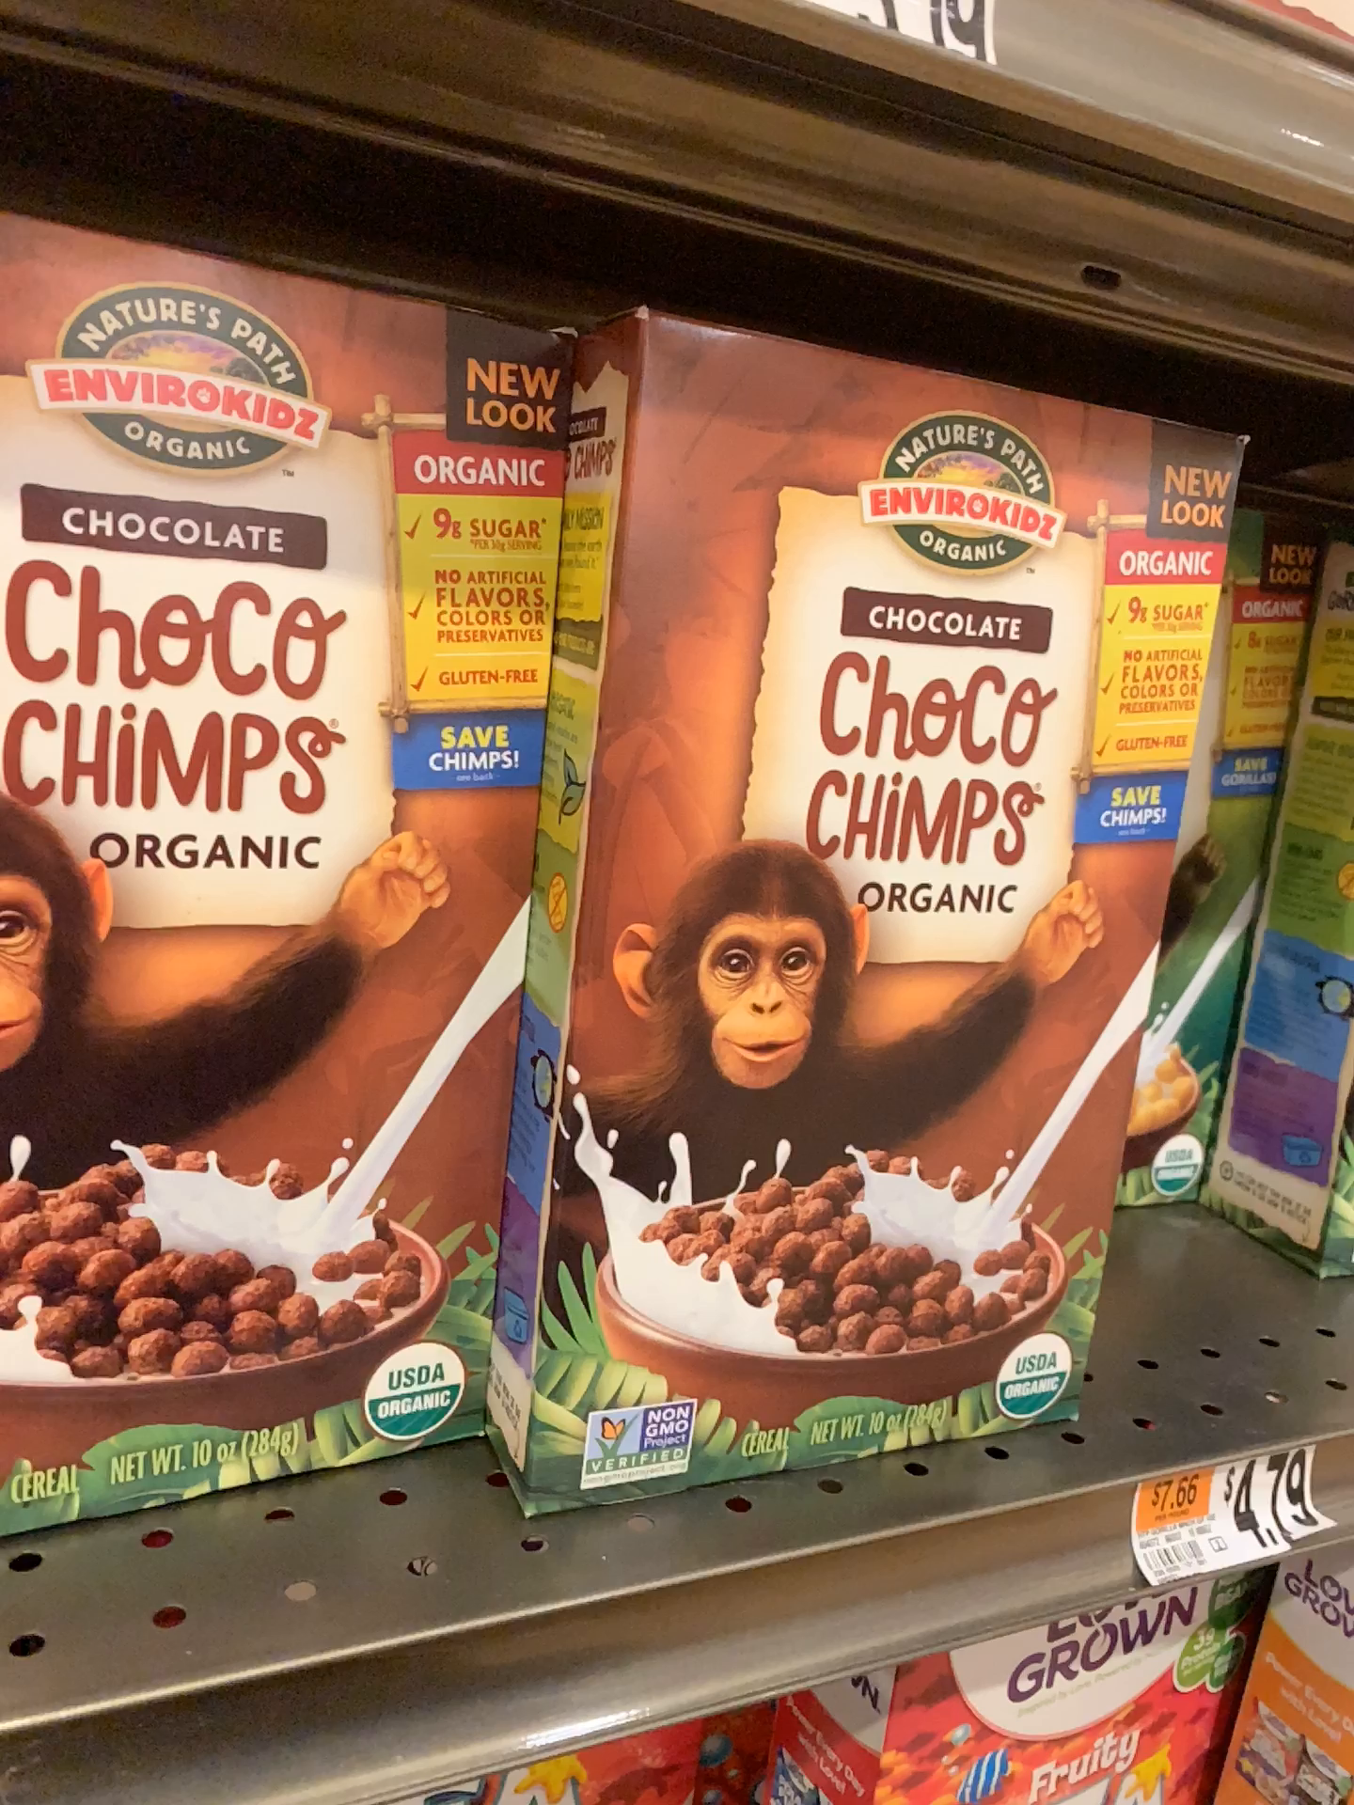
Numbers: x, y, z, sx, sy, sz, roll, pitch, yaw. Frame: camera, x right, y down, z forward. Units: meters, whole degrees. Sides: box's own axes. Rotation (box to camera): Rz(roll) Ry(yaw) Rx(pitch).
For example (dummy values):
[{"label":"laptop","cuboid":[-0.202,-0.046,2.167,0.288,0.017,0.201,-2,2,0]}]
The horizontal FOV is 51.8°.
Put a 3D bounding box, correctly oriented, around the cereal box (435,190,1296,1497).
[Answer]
[{"label":"cereal box","cuboid":[0.042,-0.005,0.346,0.170,0.269,0.060,2,12,-26]}]
